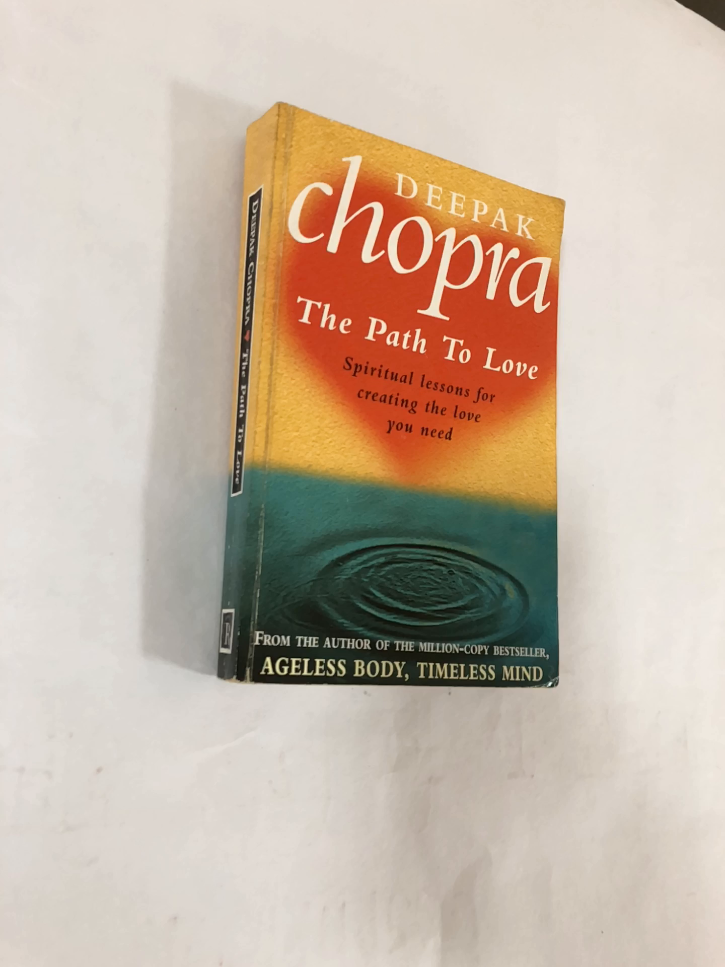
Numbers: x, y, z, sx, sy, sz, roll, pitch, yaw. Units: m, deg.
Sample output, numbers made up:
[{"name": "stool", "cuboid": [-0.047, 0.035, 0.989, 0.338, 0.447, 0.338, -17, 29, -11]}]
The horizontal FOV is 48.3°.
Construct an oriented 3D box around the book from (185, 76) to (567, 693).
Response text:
[{"name": "book", "cuboid": [0.011, -0.027, 0.299, 0.130, 0.040, 0.200, 9, 76, -30]}]
